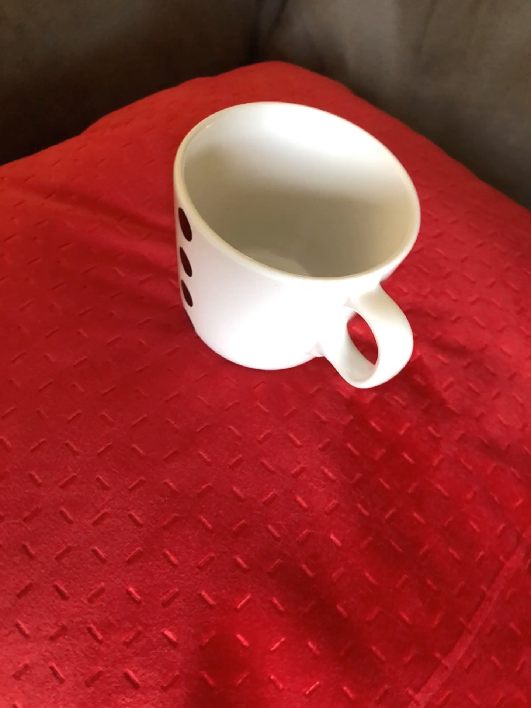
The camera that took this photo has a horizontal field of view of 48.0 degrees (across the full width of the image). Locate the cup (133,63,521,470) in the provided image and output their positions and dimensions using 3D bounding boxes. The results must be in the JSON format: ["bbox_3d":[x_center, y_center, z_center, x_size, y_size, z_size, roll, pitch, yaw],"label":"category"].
[{"bbox_3d":[0.012,-0.035,0.226,0.080,0.080,0.110,-24,65,-26],"label":"cup"}]
